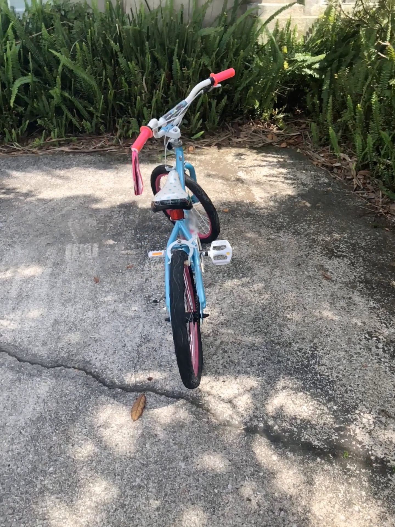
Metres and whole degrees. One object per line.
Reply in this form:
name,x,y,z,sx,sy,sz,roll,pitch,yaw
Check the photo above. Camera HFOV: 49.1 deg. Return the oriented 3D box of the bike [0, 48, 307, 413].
bike,-0.203,-0.256,1.770,0.699,0.923,1.317,-3,34,-6
